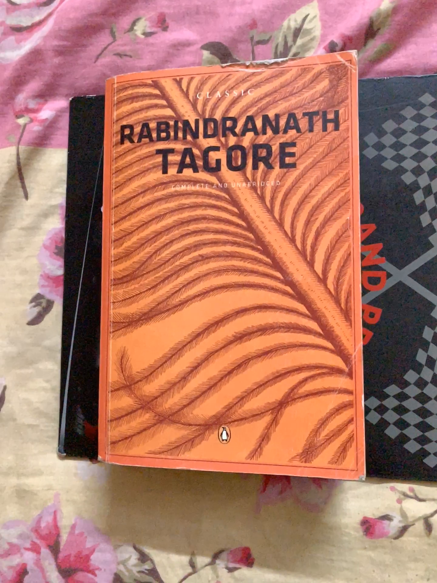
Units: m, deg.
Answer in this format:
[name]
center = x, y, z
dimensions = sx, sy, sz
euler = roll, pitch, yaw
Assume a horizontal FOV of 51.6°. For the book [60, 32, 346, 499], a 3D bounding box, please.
[book]
center = -0.003, -0.014, 0.241
dimensions = 0.130, 0.060, 0.210
euler = 0, 85, 9
